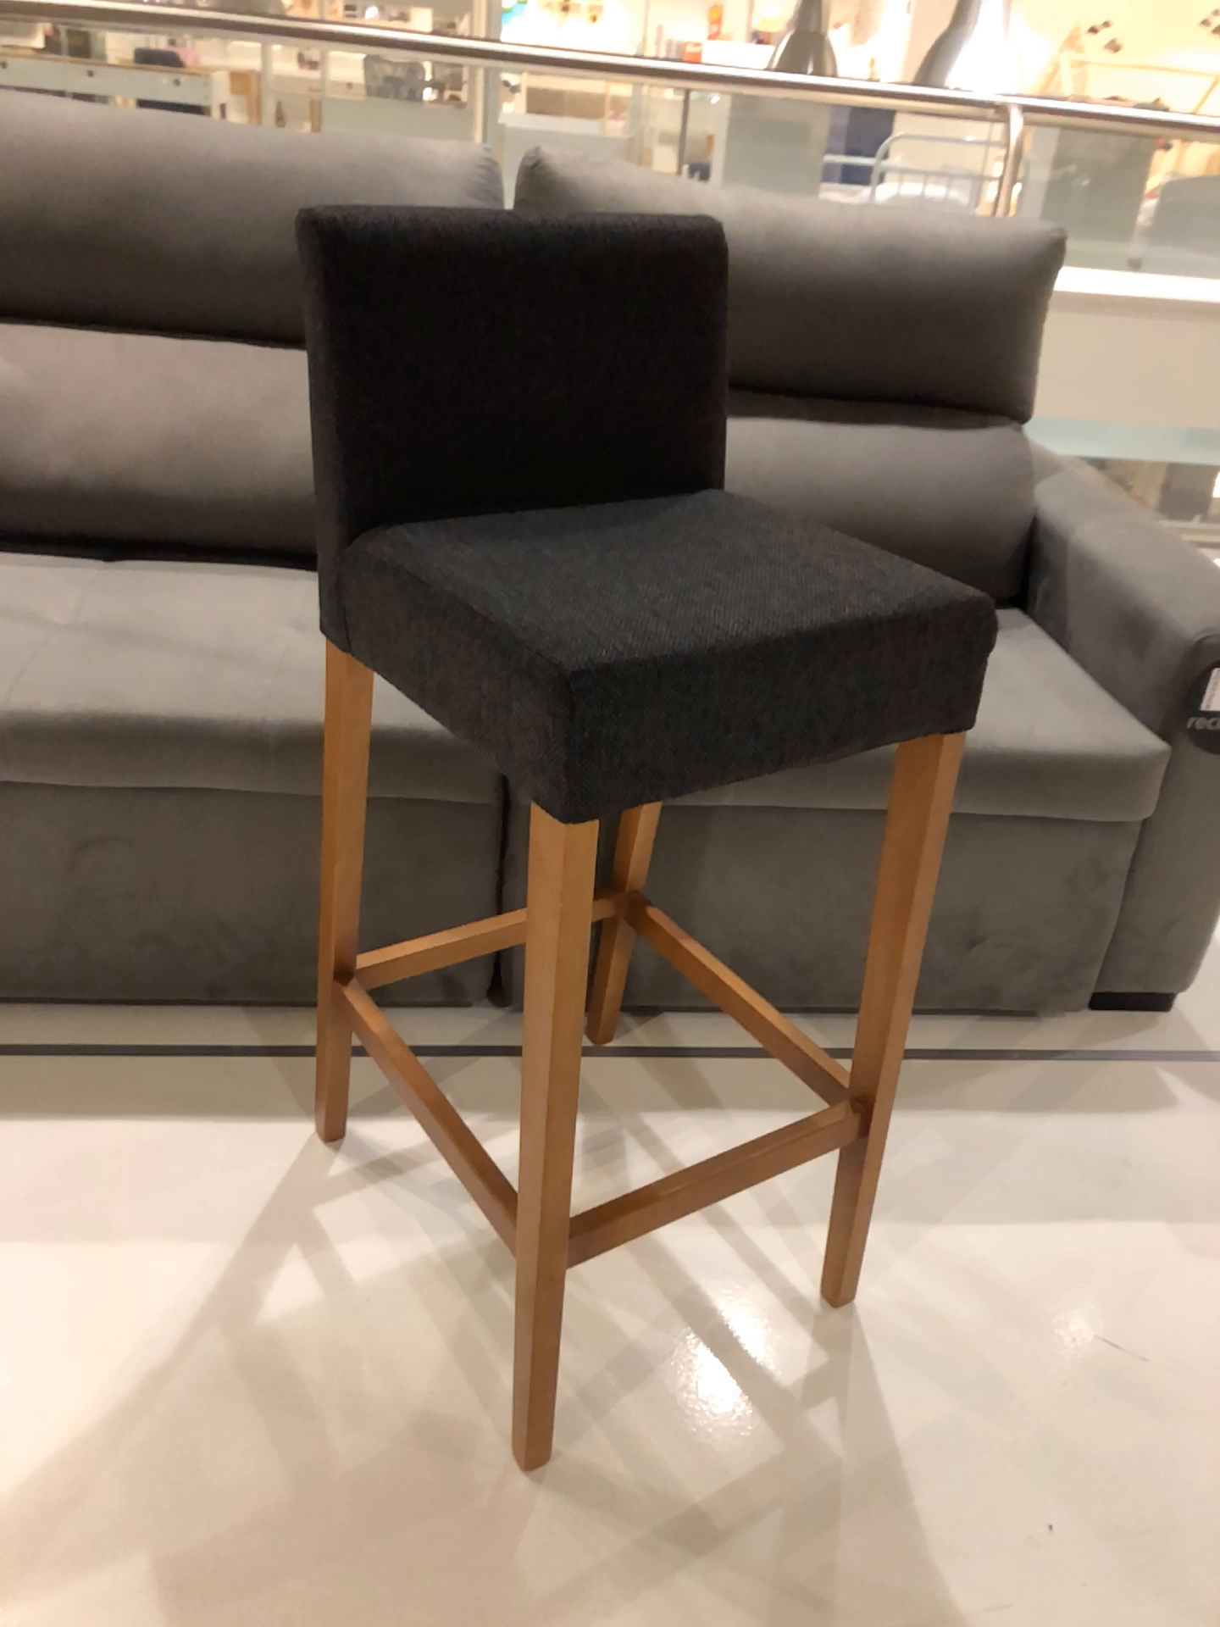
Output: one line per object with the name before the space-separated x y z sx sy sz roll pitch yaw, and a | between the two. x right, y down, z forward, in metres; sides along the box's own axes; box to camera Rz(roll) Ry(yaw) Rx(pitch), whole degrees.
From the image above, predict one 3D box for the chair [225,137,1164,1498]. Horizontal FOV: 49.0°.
chair | -0.016 -0.034 1.220 0.451 0.973 0.583 -12 32 -32
